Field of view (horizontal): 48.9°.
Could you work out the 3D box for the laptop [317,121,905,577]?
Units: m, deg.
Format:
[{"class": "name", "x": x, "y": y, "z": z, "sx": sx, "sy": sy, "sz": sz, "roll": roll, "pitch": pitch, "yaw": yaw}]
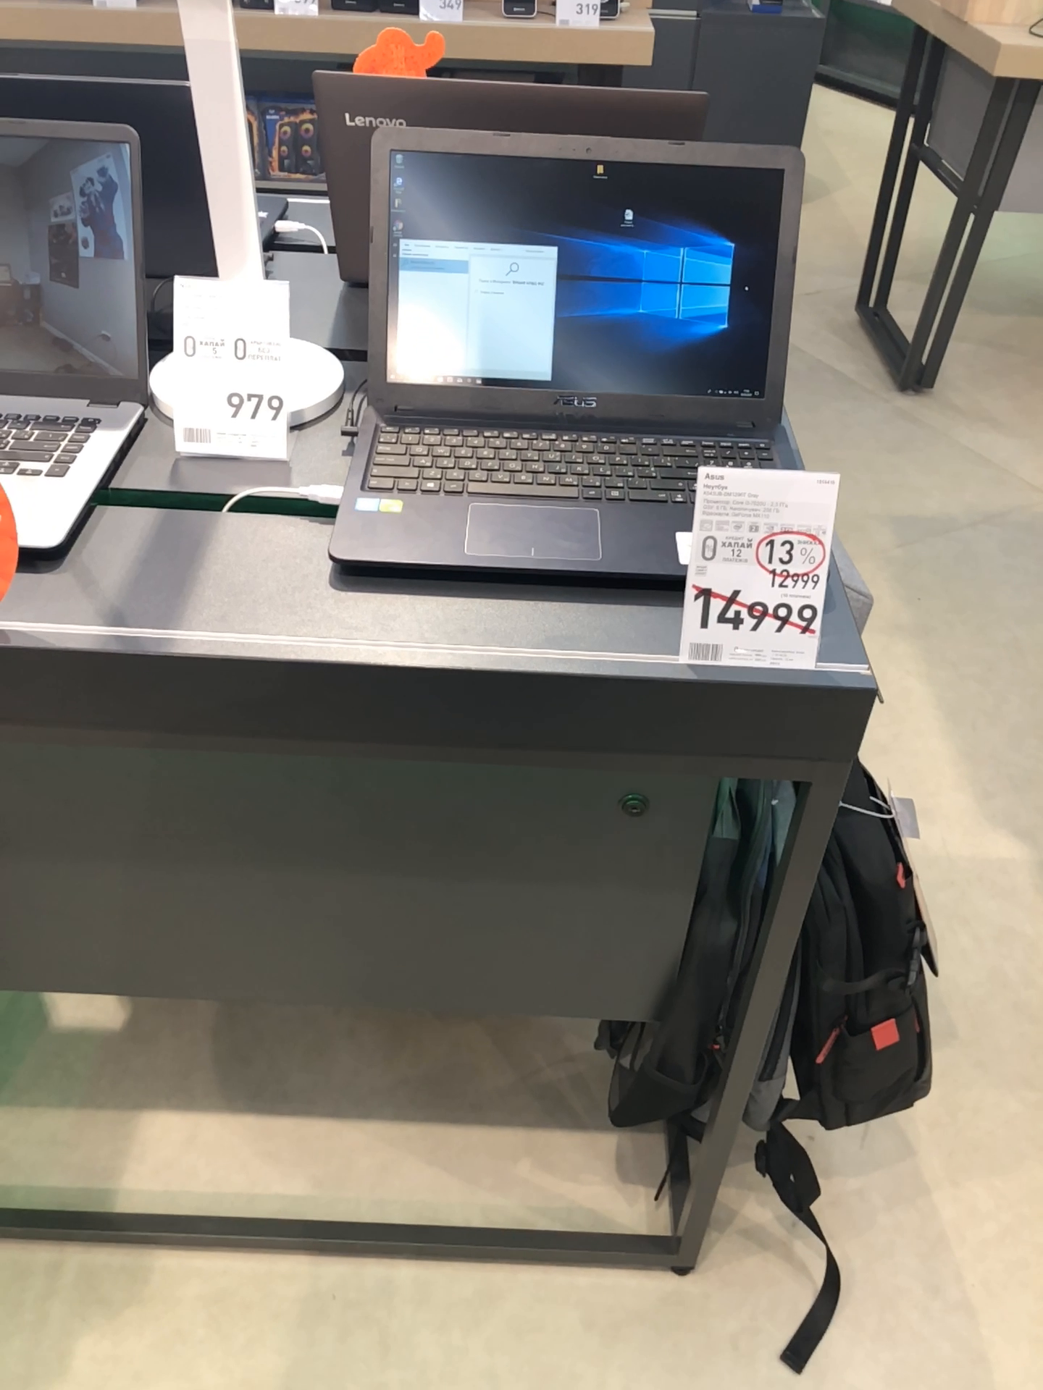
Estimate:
[{"class": "laptop", "x": 0.057, "y": -0.301, "z": 0.947, "sx": 0.380, "sy": 0.209, "sz": 0.372, "roll": 2, "pitch": 40, "yaw": 0}]
